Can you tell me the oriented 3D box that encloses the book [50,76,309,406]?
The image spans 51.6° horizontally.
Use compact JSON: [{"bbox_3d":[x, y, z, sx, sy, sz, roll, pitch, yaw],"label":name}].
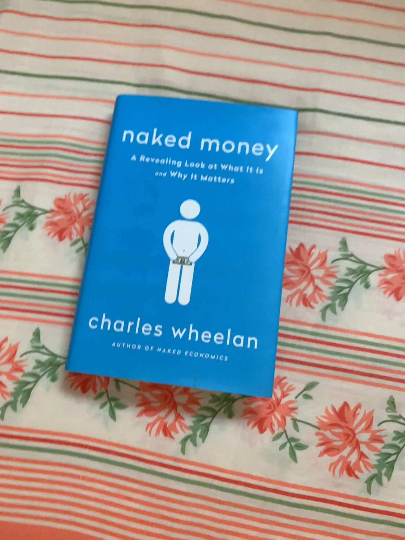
[{"bbox_3d":[-0.010,-0.030,0.347,0.170,0.040,0.251,7,77,2],"label":"book"}]
